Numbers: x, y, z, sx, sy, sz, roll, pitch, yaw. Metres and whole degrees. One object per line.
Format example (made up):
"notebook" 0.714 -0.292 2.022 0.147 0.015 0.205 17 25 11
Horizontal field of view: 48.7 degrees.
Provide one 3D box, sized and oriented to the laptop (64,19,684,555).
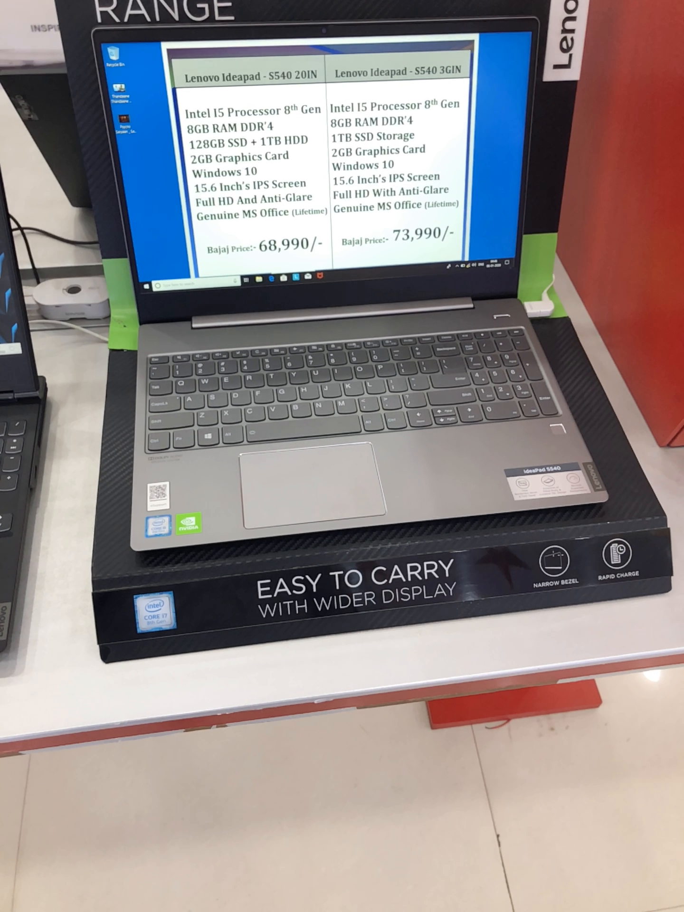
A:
"laptop" 0.008 -0.140 0.555 0.336 0.194 0.325 -5 52 -7
